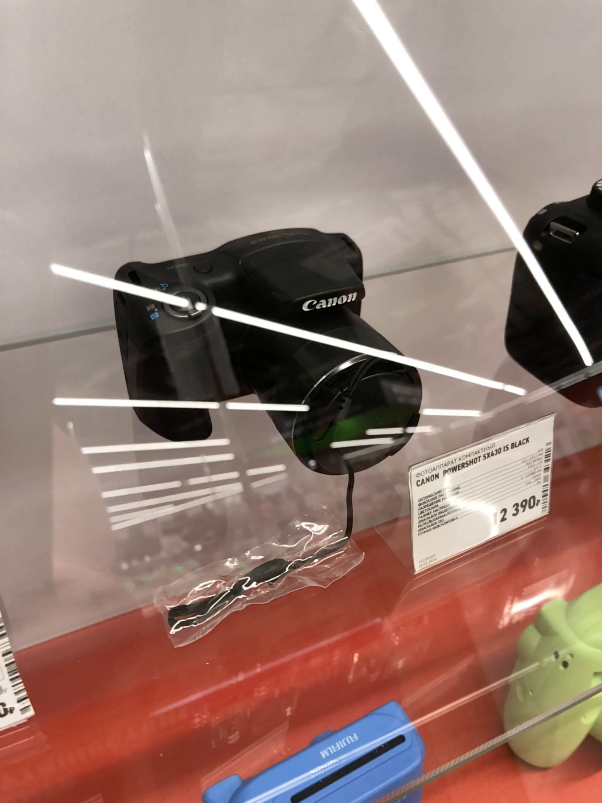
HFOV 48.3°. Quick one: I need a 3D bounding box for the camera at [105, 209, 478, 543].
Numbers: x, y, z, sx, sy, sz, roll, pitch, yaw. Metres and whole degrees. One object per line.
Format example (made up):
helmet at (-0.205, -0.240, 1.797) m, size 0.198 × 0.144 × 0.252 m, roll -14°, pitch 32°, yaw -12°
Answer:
camera at (-0.008, -0.017, 0.272) m, size 0.113 × 0.080 × 0.086 m, roll -14°, pitch 40°, yaw -21°
